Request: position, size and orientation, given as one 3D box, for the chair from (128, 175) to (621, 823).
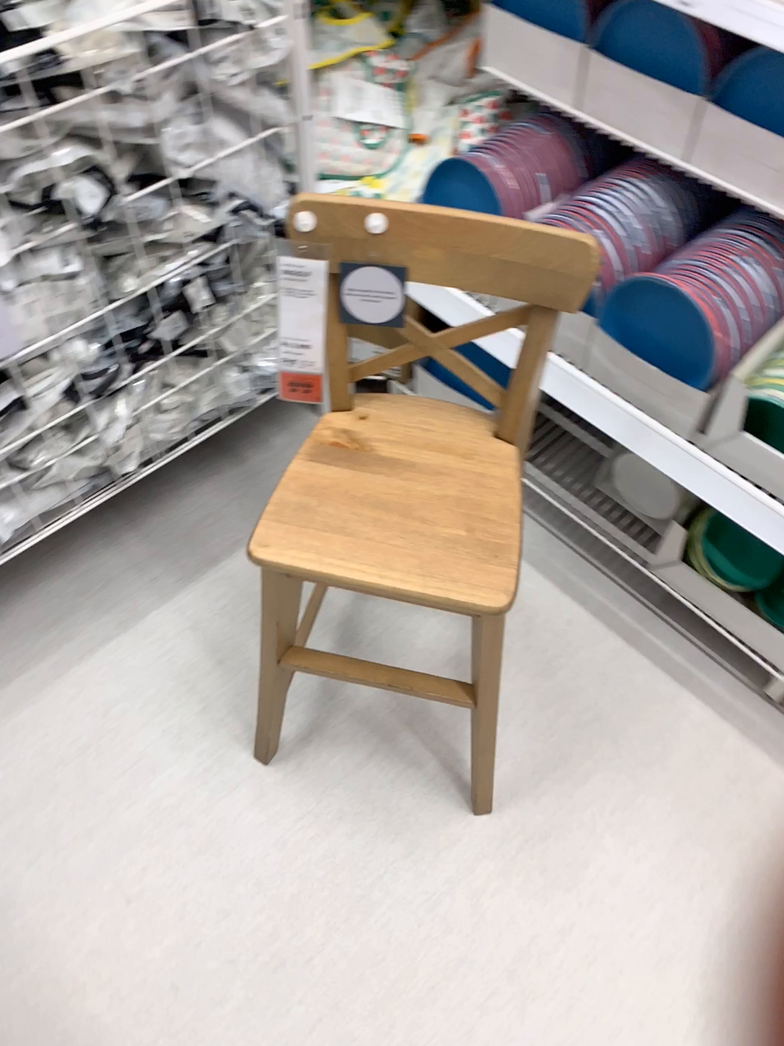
[{"bbox_3d":[0.014,0.023,1.020,0.380,0.688,0.461,9,55,5],"label":"chair"}]
